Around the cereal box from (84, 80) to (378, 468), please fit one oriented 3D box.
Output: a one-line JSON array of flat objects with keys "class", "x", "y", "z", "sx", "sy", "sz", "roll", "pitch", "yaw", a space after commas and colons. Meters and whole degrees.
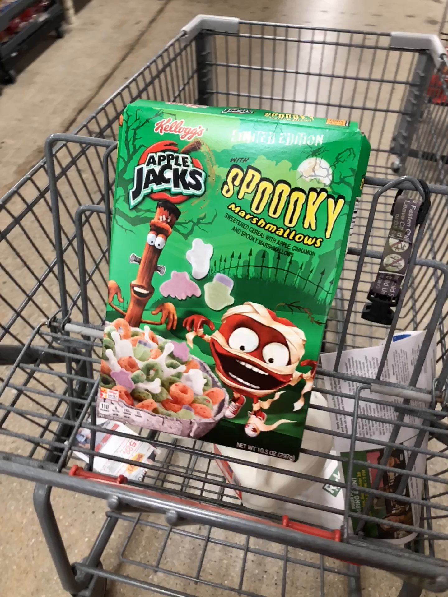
[{"class": "cereal box", "x": -0.003, "y": -0.020, "z": 0.422, "sx": 0.200, "sy": 0.280, "sz": 0.070, "roll": 10, "pitch": 15, "yaw": 10}]
